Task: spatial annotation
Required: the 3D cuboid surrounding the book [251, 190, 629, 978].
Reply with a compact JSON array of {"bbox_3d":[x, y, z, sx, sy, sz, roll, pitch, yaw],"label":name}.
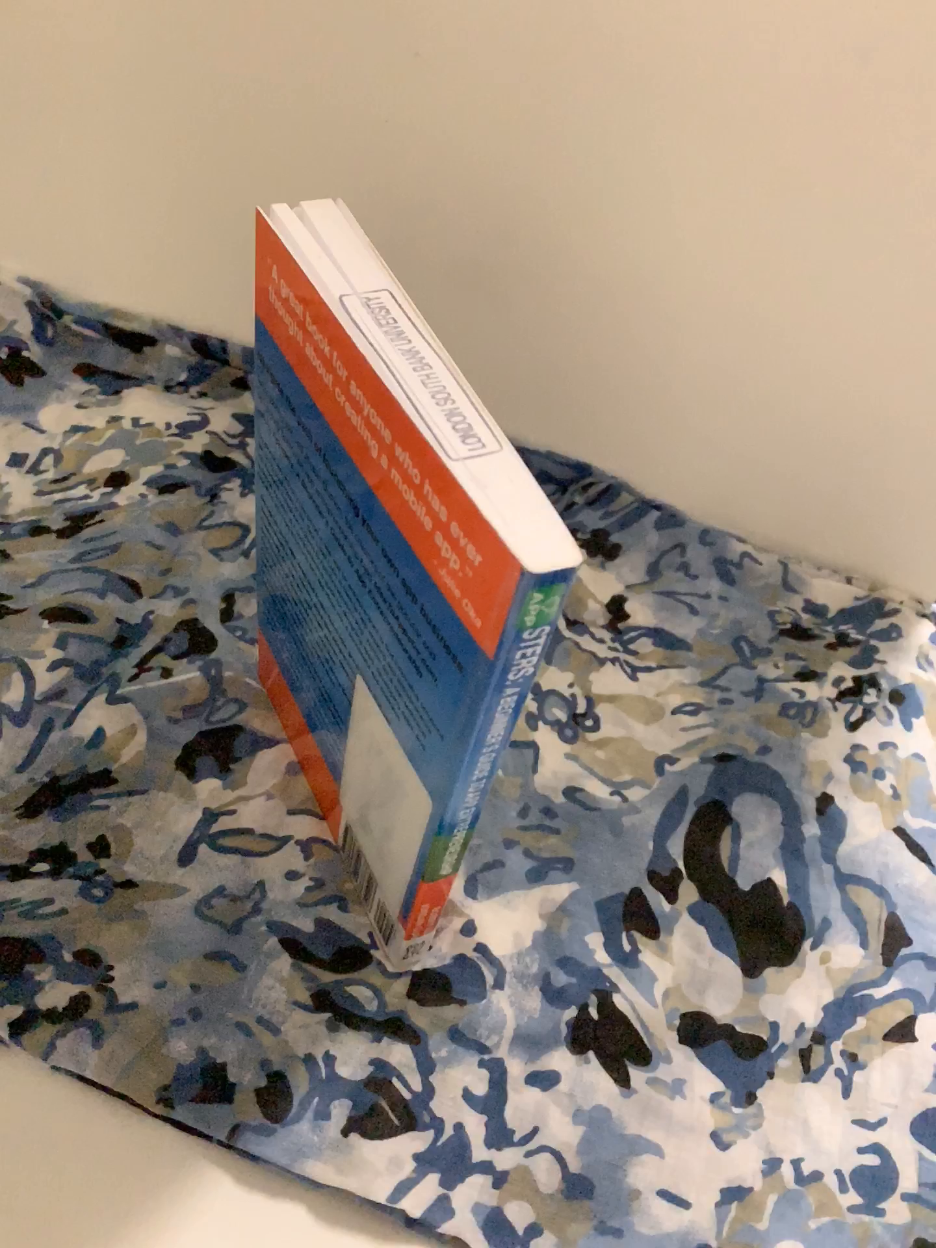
[{"bbox_3d":[-0.029,0.002,0.295,0.024,0.203,0.141,-17,56,-25],"label":"book"}]
